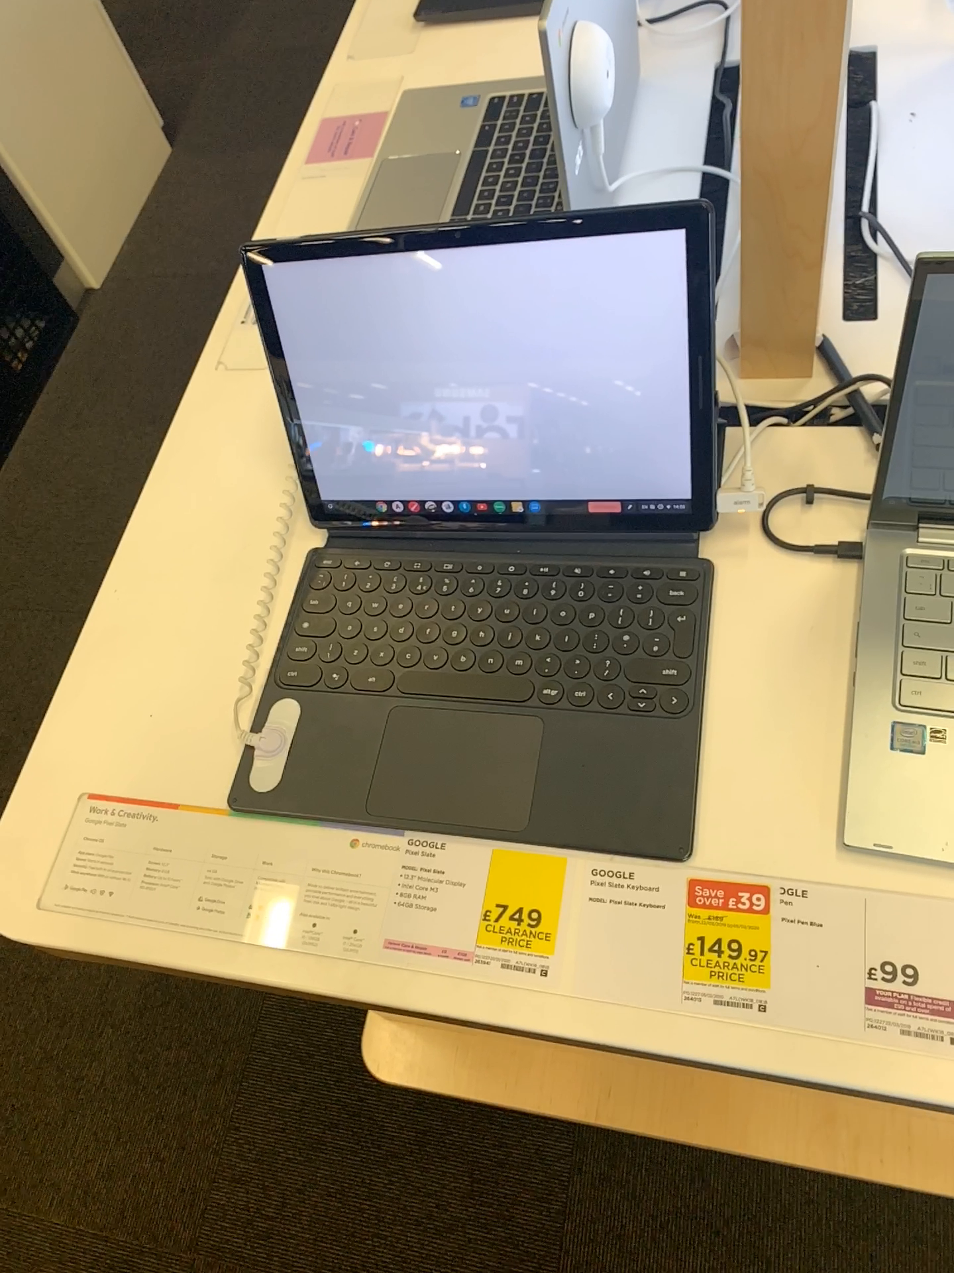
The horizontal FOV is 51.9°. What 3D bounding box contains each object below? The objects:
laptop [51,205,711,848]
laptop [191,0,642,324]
[{"bbox_3d":[-0.020,-0.063,0.575,0.285,0.188,0.294,2,61,16],"label":"laptop"},{"bbox_3d":[-0.017,-0.453,0.772,0.233,0.222,0.320,4,62,16],"label":"laptop"}]
